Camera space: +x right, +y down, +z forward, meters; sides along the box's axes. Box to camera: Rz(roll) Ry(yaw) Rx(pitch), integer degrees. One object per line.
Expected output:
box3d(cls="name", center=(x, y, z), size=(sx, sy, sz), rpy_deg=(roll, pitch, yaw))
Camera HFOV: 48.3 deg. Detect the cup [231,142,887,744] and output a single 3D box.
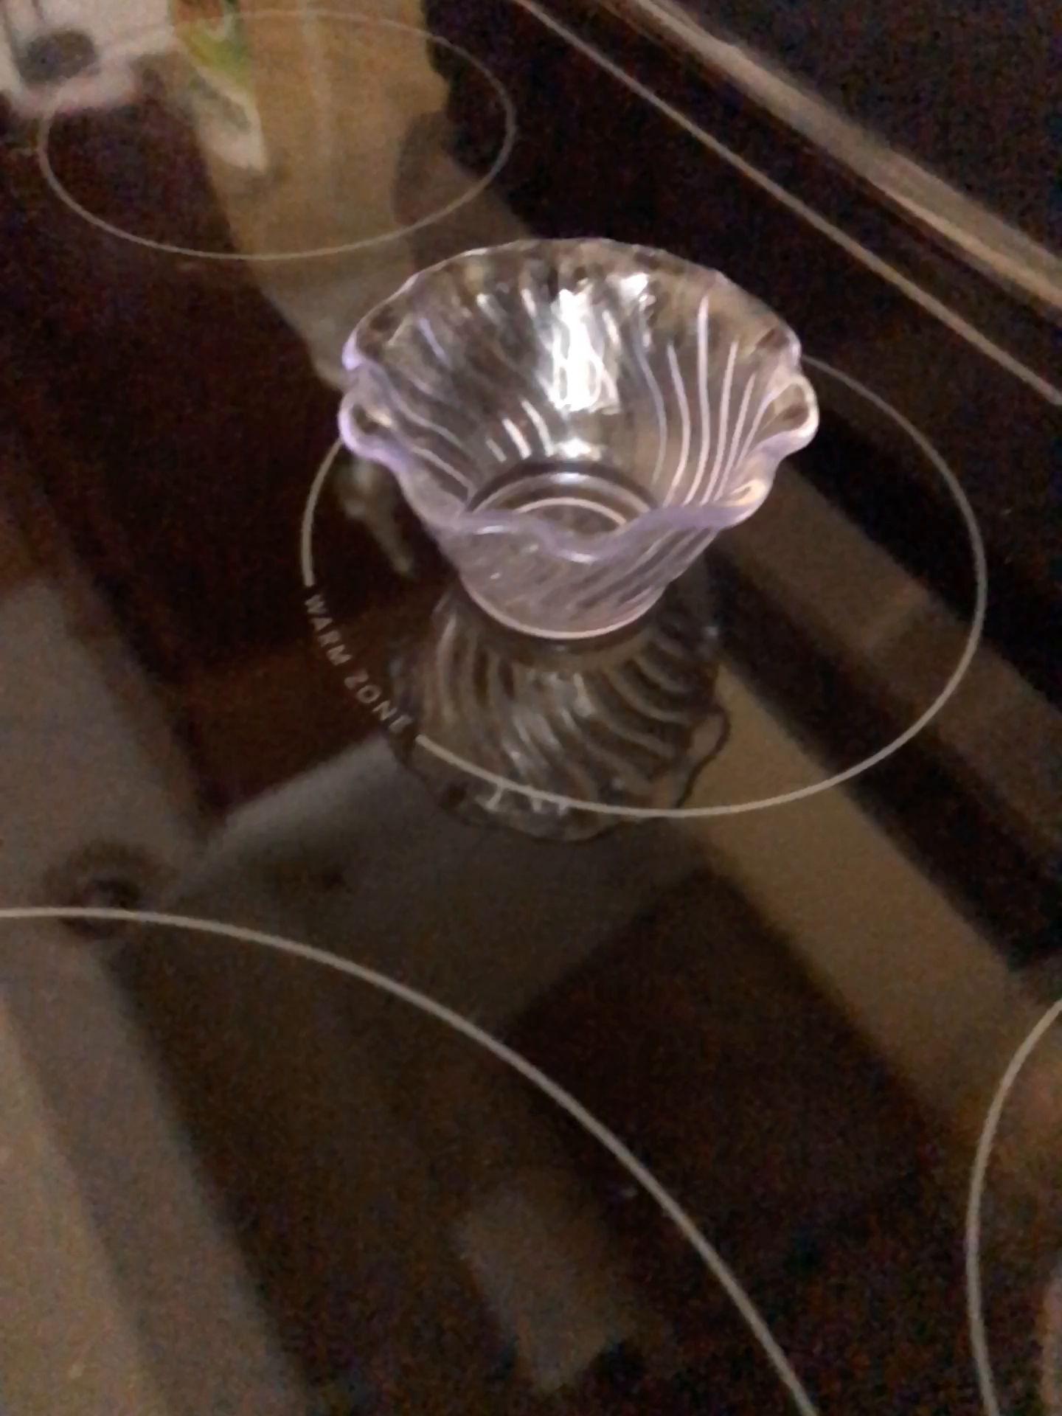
box3d(cls="cup", center=(0.010, -0.059, 0.248), size=(0.101, 0.052, 0.100), rpy_deg=(1, 53, -1))
